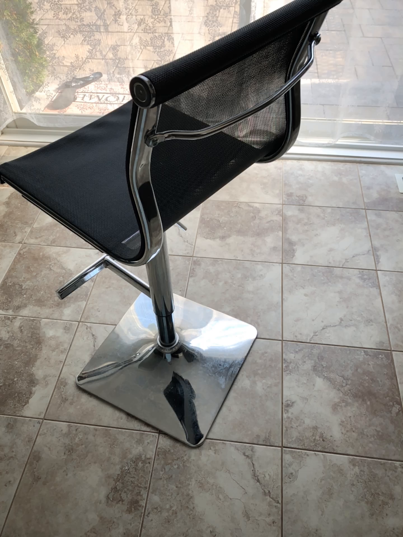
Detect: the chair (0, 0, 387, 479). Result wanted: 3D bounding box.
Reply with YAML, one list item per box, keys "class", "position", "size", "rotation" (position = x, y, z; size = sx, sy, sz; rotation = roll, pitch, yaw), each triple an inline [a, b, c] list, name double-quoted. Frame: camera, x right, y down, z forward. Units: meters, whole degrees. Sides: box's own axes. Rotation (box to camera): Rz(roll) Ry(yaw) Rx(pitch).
- class: "chair"
  position: [-0.118, -0.098, 0.979]
  size: [0.551, 0.977, 0.541]
  rotation: [34, 57, 27]
